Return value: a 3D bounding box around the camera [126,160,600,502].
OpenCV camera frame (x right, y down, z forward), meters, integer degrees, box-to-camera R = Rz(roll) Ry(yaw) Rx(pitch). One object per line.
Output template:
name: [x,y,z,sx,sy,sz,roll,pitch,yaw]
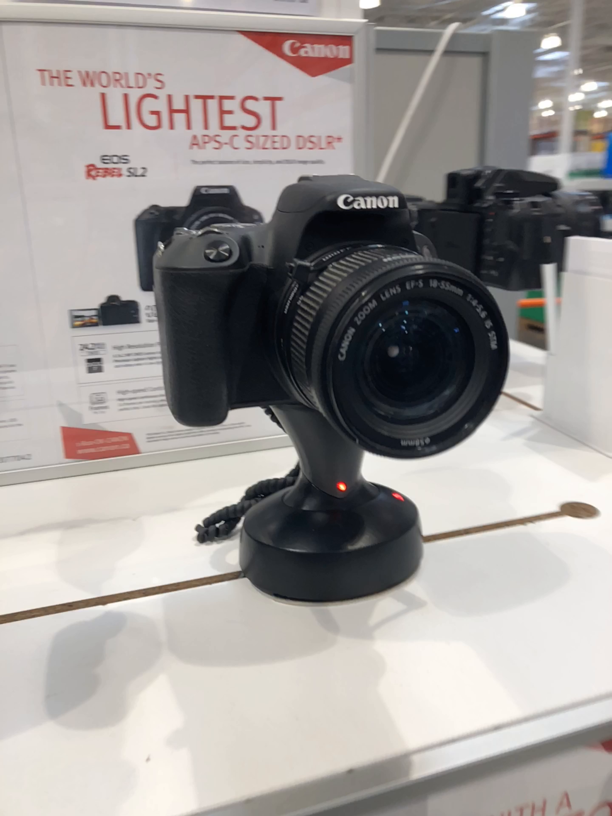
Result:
camera: [0.008,-0.041,0.249,0.130,0.090,0.121,-6,19,-16]
